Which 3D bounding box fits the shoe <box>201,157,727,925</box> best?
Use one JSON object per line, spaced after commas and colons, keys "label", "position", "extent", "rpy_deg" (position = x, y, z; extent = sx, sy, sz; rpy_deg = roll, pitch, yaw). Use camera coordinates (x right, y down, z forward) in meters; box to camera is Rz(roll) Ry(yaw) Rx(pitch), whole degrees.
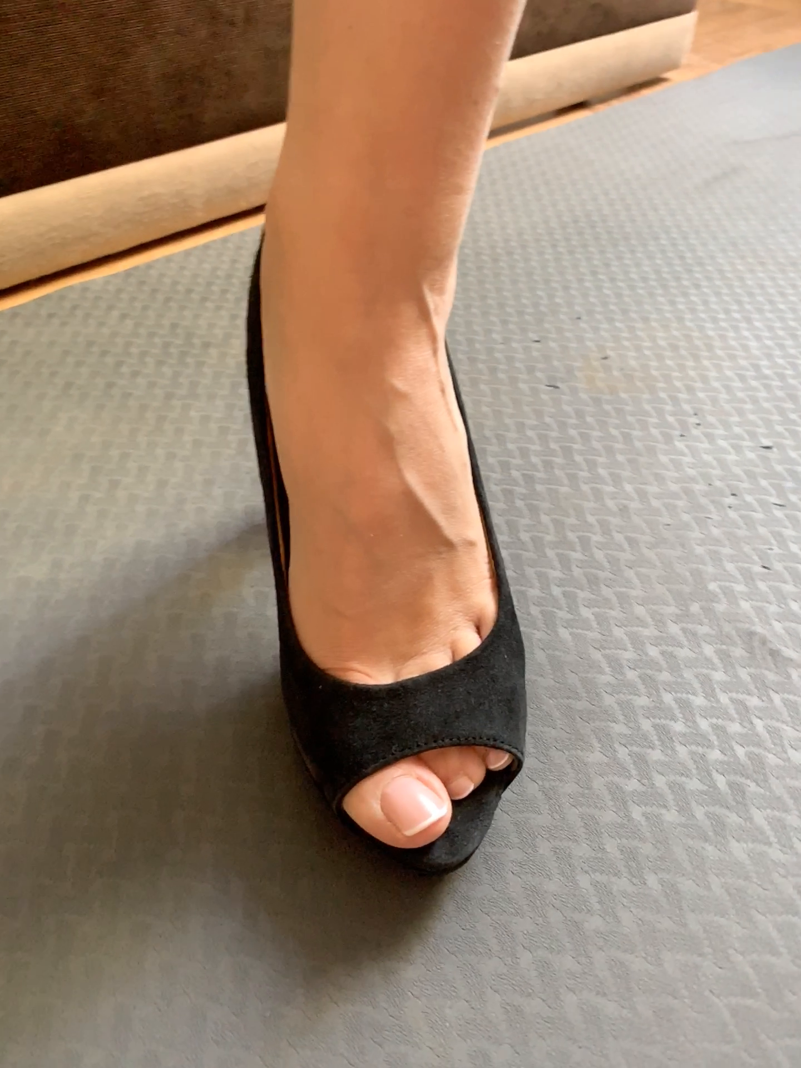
{"label": "shoe", "position": [-0.005, -0.014, 0.276], "extent": [0.090, 0.139, 0.211], "rpy_deg": [-8, 43, -10]}
